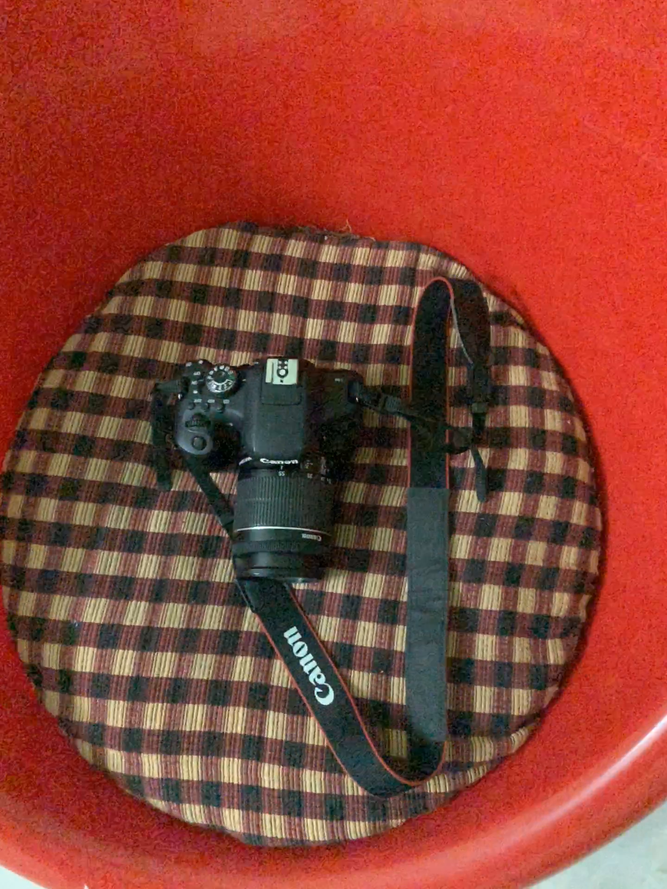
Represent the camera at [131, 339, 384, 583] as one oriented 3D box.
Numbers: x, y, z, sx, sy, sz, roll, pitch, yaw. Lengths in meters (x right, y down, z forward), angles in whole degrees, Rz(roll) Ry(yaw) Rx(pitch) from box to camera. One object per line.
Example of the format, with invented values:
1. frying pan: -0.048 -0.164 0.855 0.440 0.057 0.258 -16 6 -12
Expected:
1. camera: -0.041 0.020 0.471 0.140 0.130 0.138 3 78 3
